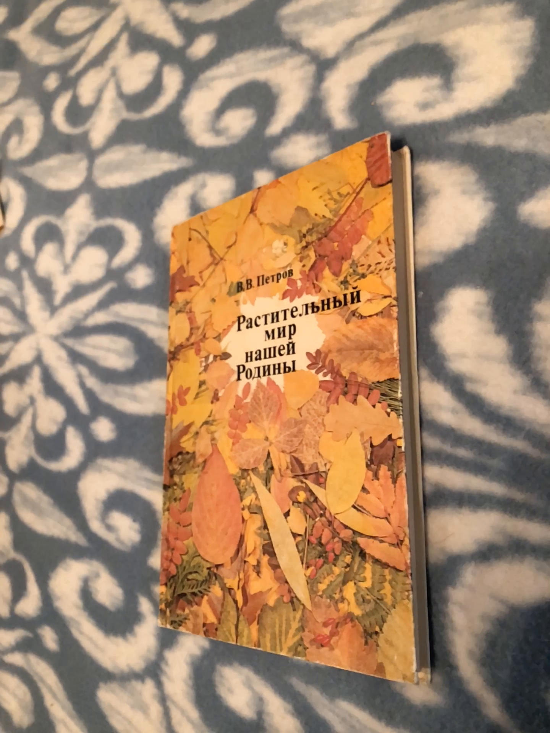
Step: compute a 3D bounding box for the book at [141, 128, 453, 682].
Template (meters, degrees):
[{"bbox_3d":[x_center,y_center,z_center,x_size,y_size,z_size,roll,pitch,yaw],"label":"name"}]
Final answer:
[{"bbox_3d":[-0.002,0.017,0.286,0.157,0.020,0.208,-10,76,40],"label":"book"}]
